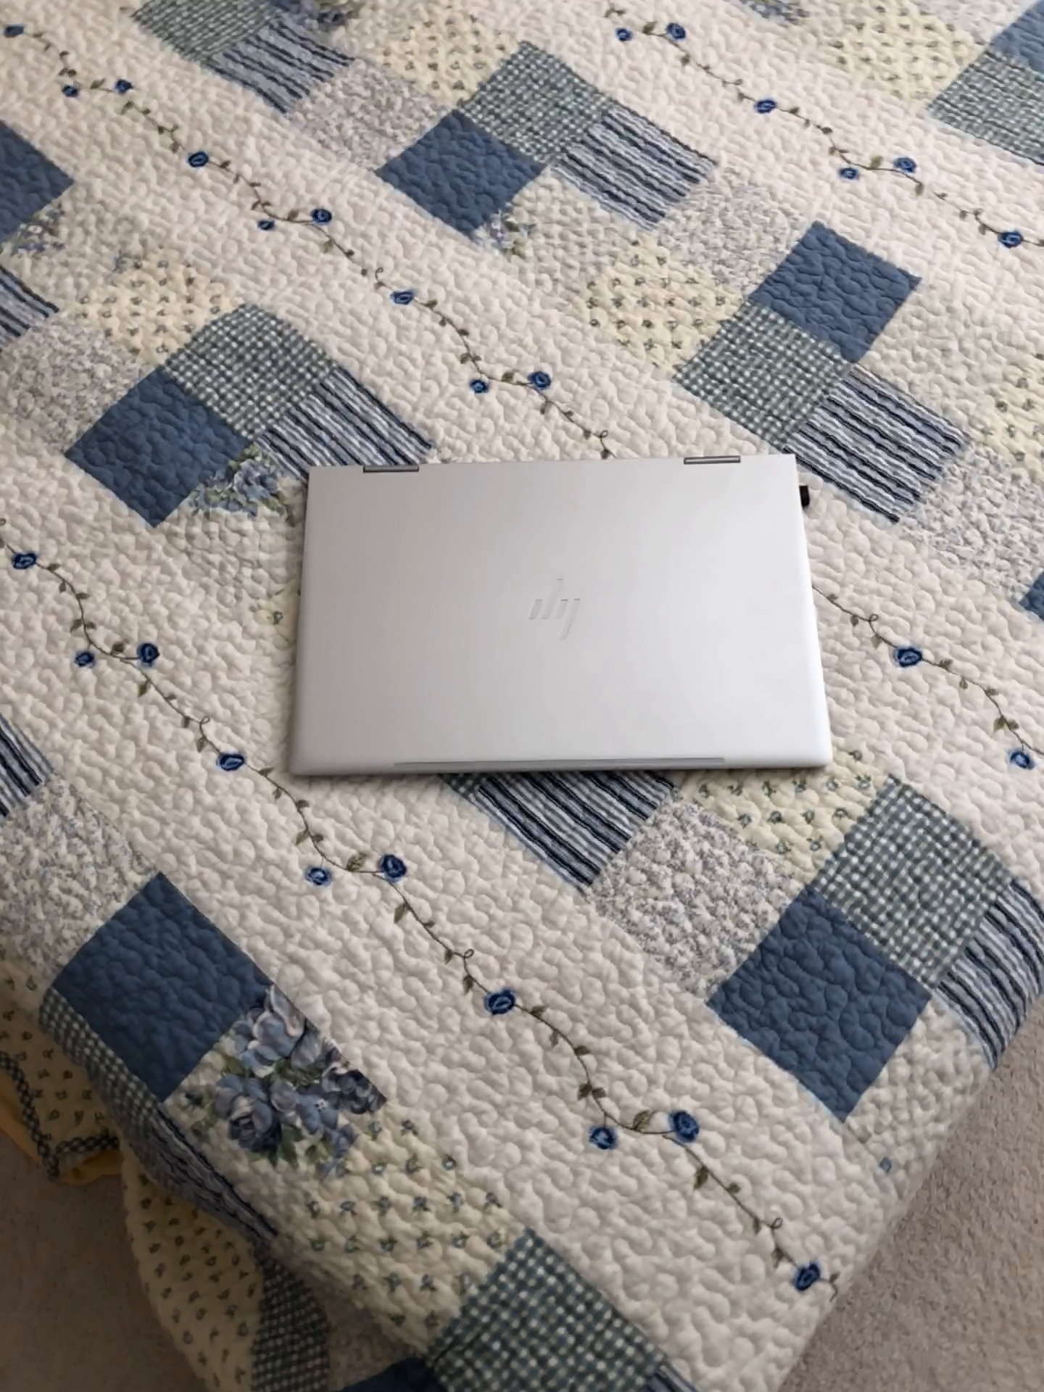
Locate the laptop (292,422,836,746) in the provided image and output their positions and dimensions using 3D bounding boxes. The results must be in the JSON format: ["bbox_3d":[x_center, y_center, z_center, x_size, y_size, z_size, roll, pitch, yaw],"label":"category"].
[{"bbox_3d":[0.025,-0.089,0.868,0.386,0.011,0.256,-1,69,3],"label":"laptop"}]
